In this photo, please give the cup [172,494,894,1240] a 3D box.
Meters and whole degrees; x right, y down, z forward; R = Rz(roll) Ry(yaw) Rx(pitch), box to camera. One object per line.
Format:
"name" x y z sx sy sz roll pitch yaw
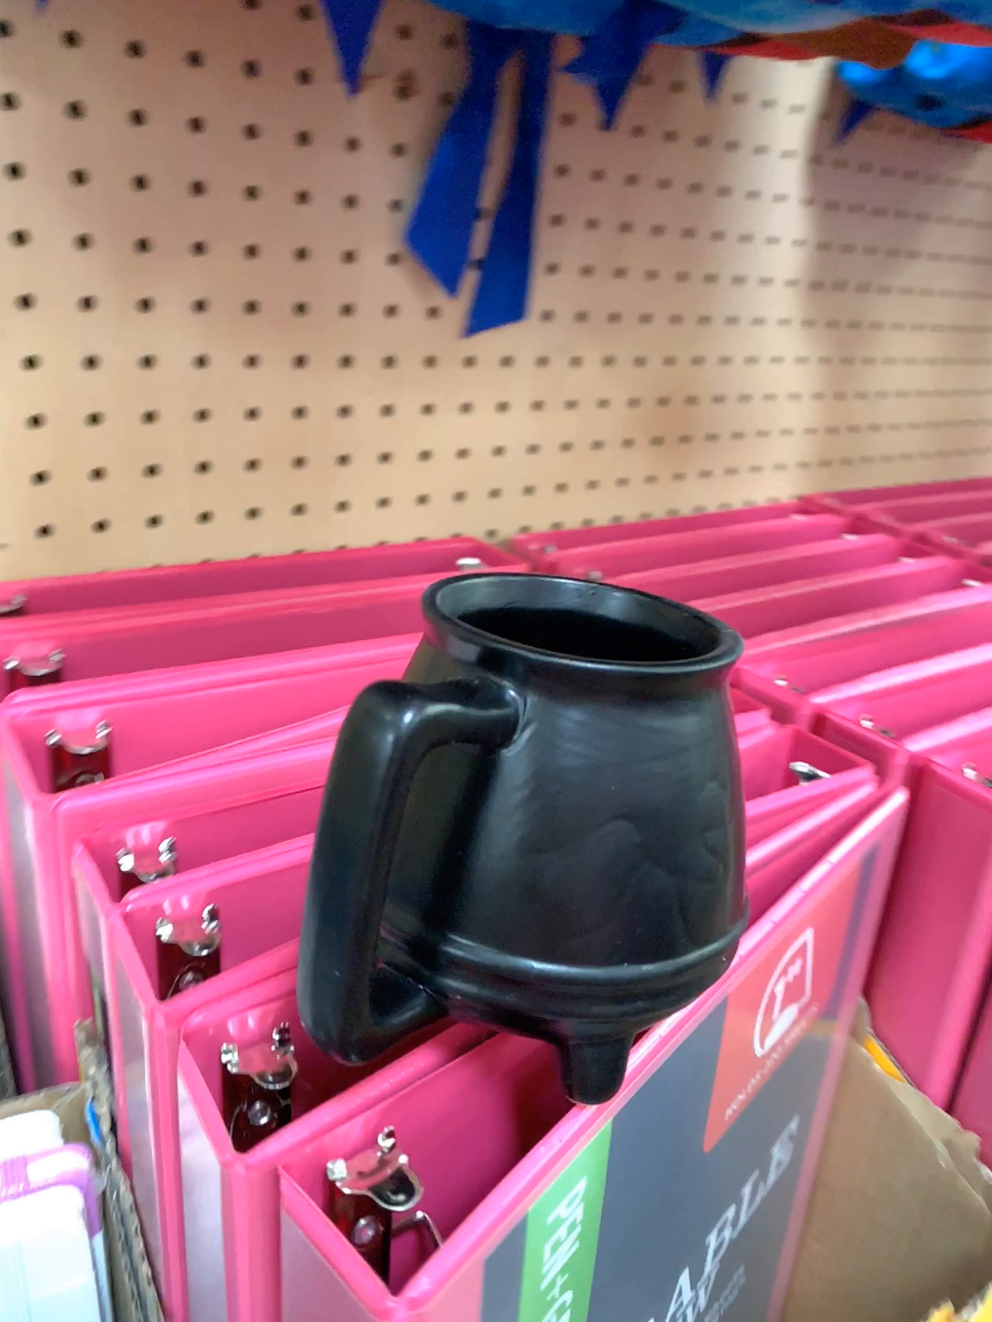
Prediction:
"cup" 0.009 0.026 0.231 0.097 0.093 0.122 23 27 34
